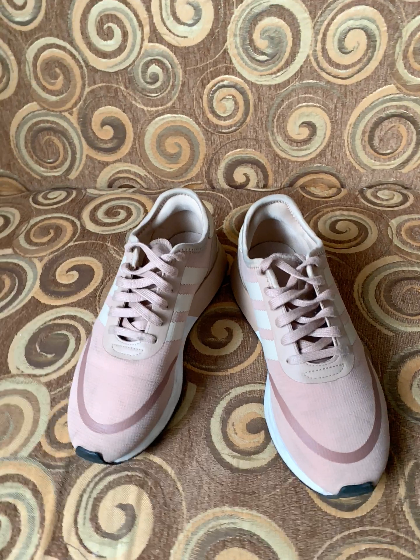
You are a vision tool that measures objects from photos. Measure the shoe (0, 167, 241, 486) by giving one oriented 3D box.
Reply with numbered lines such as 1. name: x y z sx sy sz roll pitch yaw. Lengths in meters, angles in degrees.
1. shoe: -0.058 0.023 0.375 0.100 0.090 0.251 11 55 16

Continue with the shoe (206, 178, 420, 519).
1. shoe: 0.078 0.039 0.357 0.100 0.090 0.251 -14 52 -3
